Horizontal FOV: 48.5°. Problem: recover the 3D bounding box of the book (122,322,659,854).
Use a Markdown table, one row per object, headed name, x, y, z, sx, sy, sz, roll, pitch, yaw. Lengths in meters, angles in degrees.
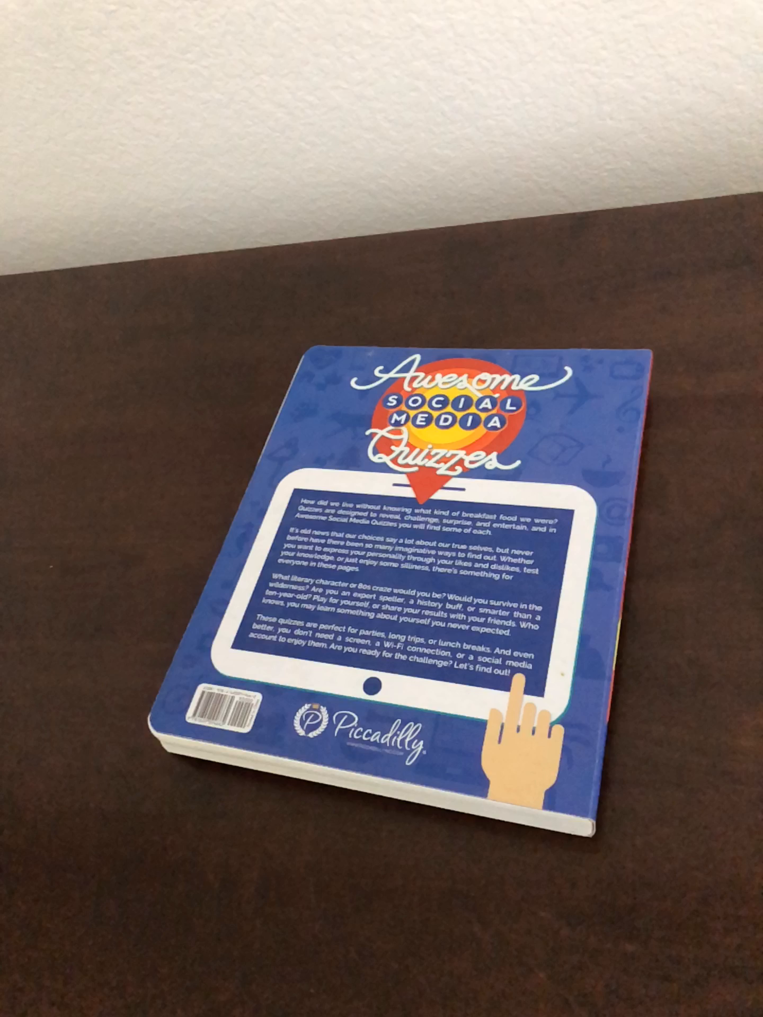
| name | x | y | z | sx | sy | sz | roll | pitch | yaw |
| --- | --- | --- | --- | --- | --- | --- | --- | --- | --- |
| book | 0.016 | 0.010 | 0.351 | 0.173 | 0.030 | 0.215 | 5 | 57 | 19 |
